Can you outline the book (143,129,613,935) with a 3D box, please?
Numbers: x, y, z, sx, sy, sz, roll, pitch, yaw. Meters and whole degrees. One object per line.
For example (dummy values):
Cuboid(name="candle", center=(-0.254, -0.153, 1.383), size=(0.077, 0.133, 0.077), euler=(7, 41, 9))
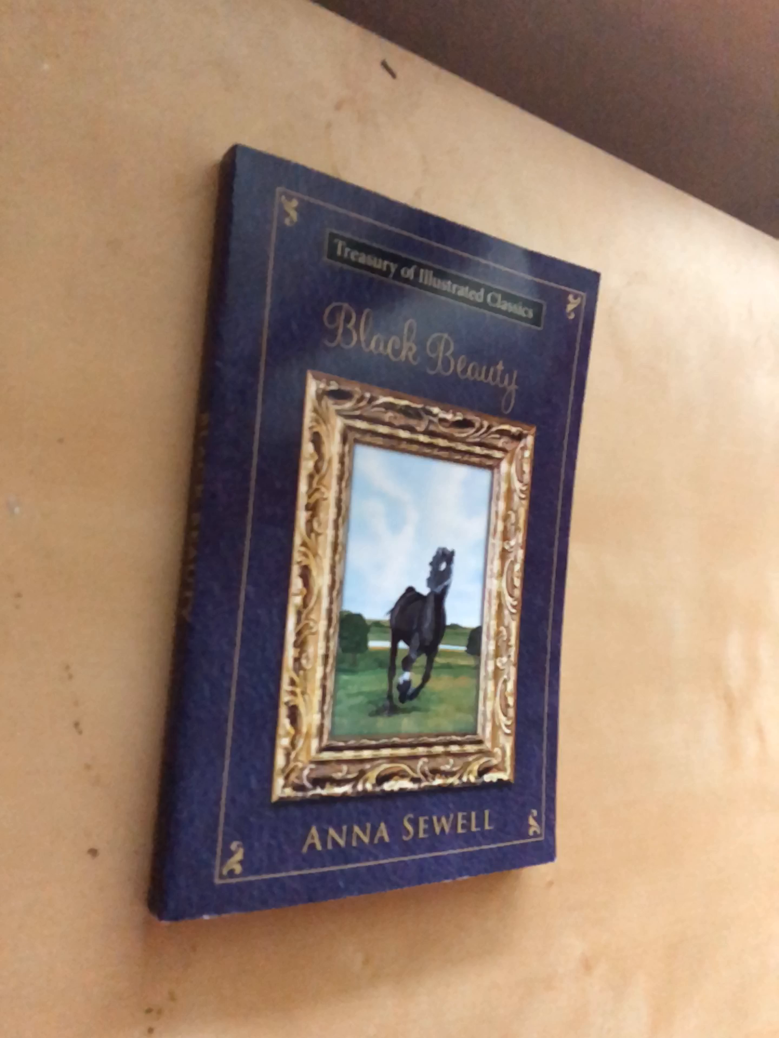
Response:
Cuboid(name="book", center=(0.006, 0.007, 0.246), size=(0.126, 0.025, 0.193), euler=(8, 84, -33))
